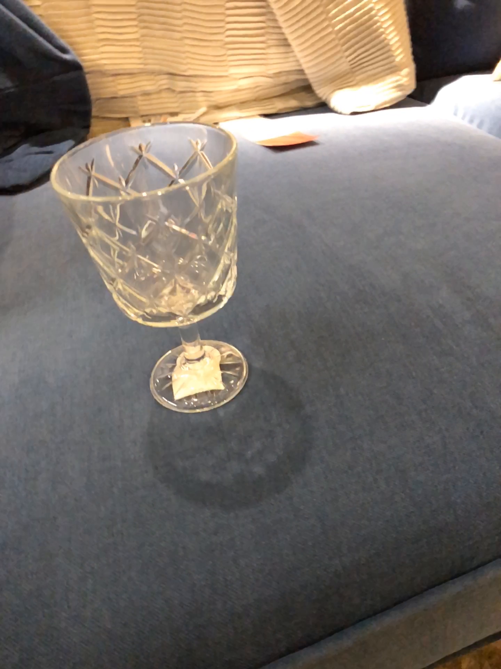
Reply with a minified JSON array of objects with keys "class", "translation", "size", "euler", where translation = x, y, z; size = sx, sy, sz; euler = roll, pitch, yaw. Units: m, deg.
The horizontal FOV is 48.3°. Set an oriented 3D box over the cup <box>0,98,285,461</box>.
[{"class":"cup","translation":[-0.049,-0.030,0.290],"size":[0.090,0.139,0.090],"euler":[-4,40,4]}]
